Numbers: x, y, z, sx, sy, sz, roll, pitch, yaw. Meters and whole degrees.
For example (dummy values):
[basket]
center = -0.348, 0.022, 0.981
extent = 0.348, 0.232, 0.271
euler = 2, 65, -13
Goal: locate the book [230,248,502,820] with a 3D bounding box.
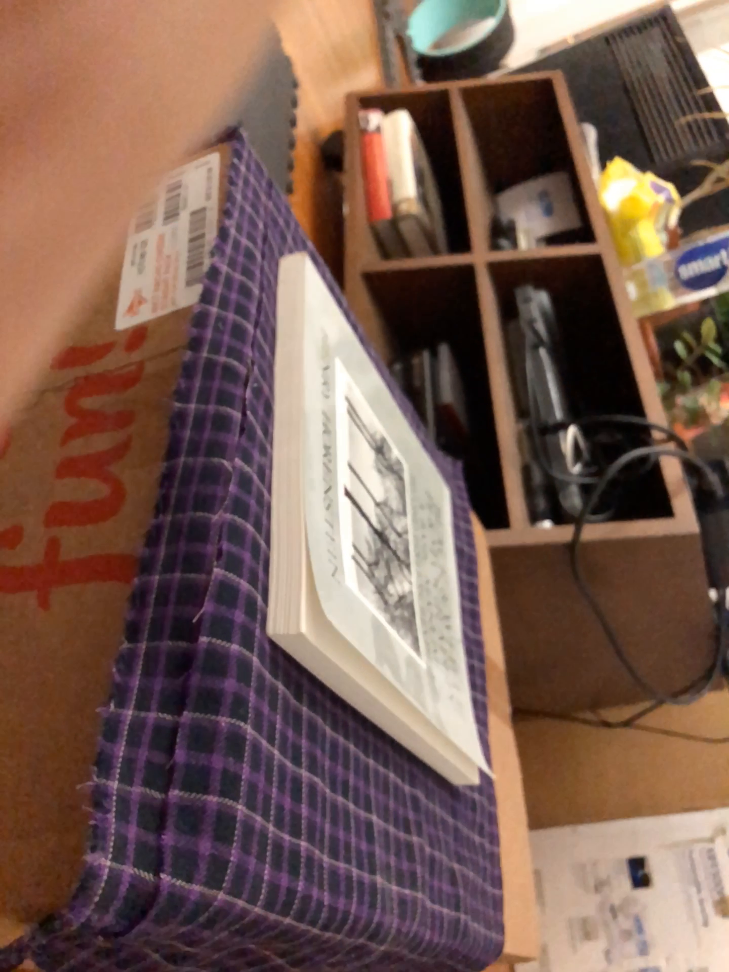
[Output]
[book]
center = 0.013, 0.040, 0.432
extent = 0.250, 0.030, 0.210
euler = 53, 28, -50
